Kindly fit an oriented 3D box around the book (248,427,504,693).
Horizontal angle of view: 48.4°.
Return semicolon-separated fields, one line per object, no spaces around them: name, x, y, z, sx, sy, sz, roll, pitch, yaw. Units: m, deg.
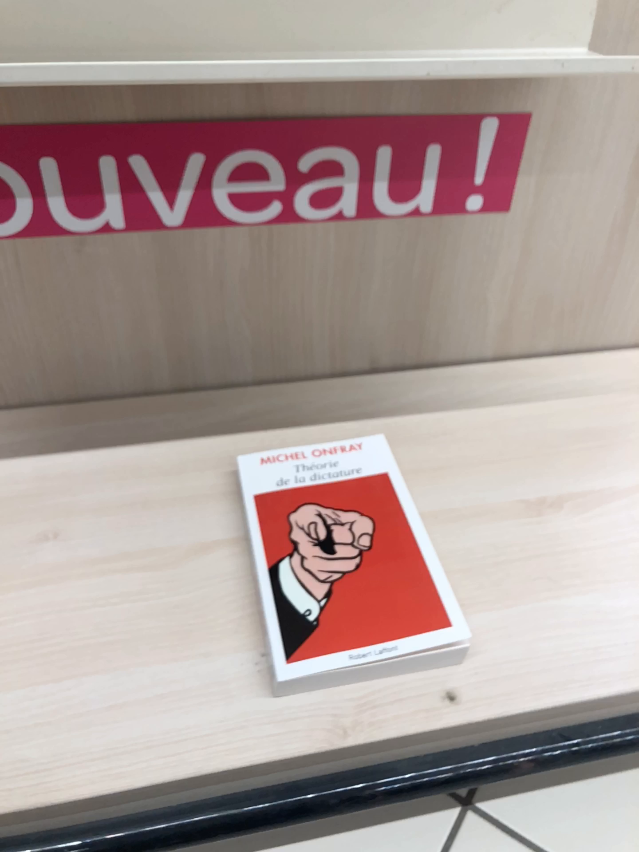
book;0.030;0.086;0.535;0.139;0.029;0.208;-6;41;-11
